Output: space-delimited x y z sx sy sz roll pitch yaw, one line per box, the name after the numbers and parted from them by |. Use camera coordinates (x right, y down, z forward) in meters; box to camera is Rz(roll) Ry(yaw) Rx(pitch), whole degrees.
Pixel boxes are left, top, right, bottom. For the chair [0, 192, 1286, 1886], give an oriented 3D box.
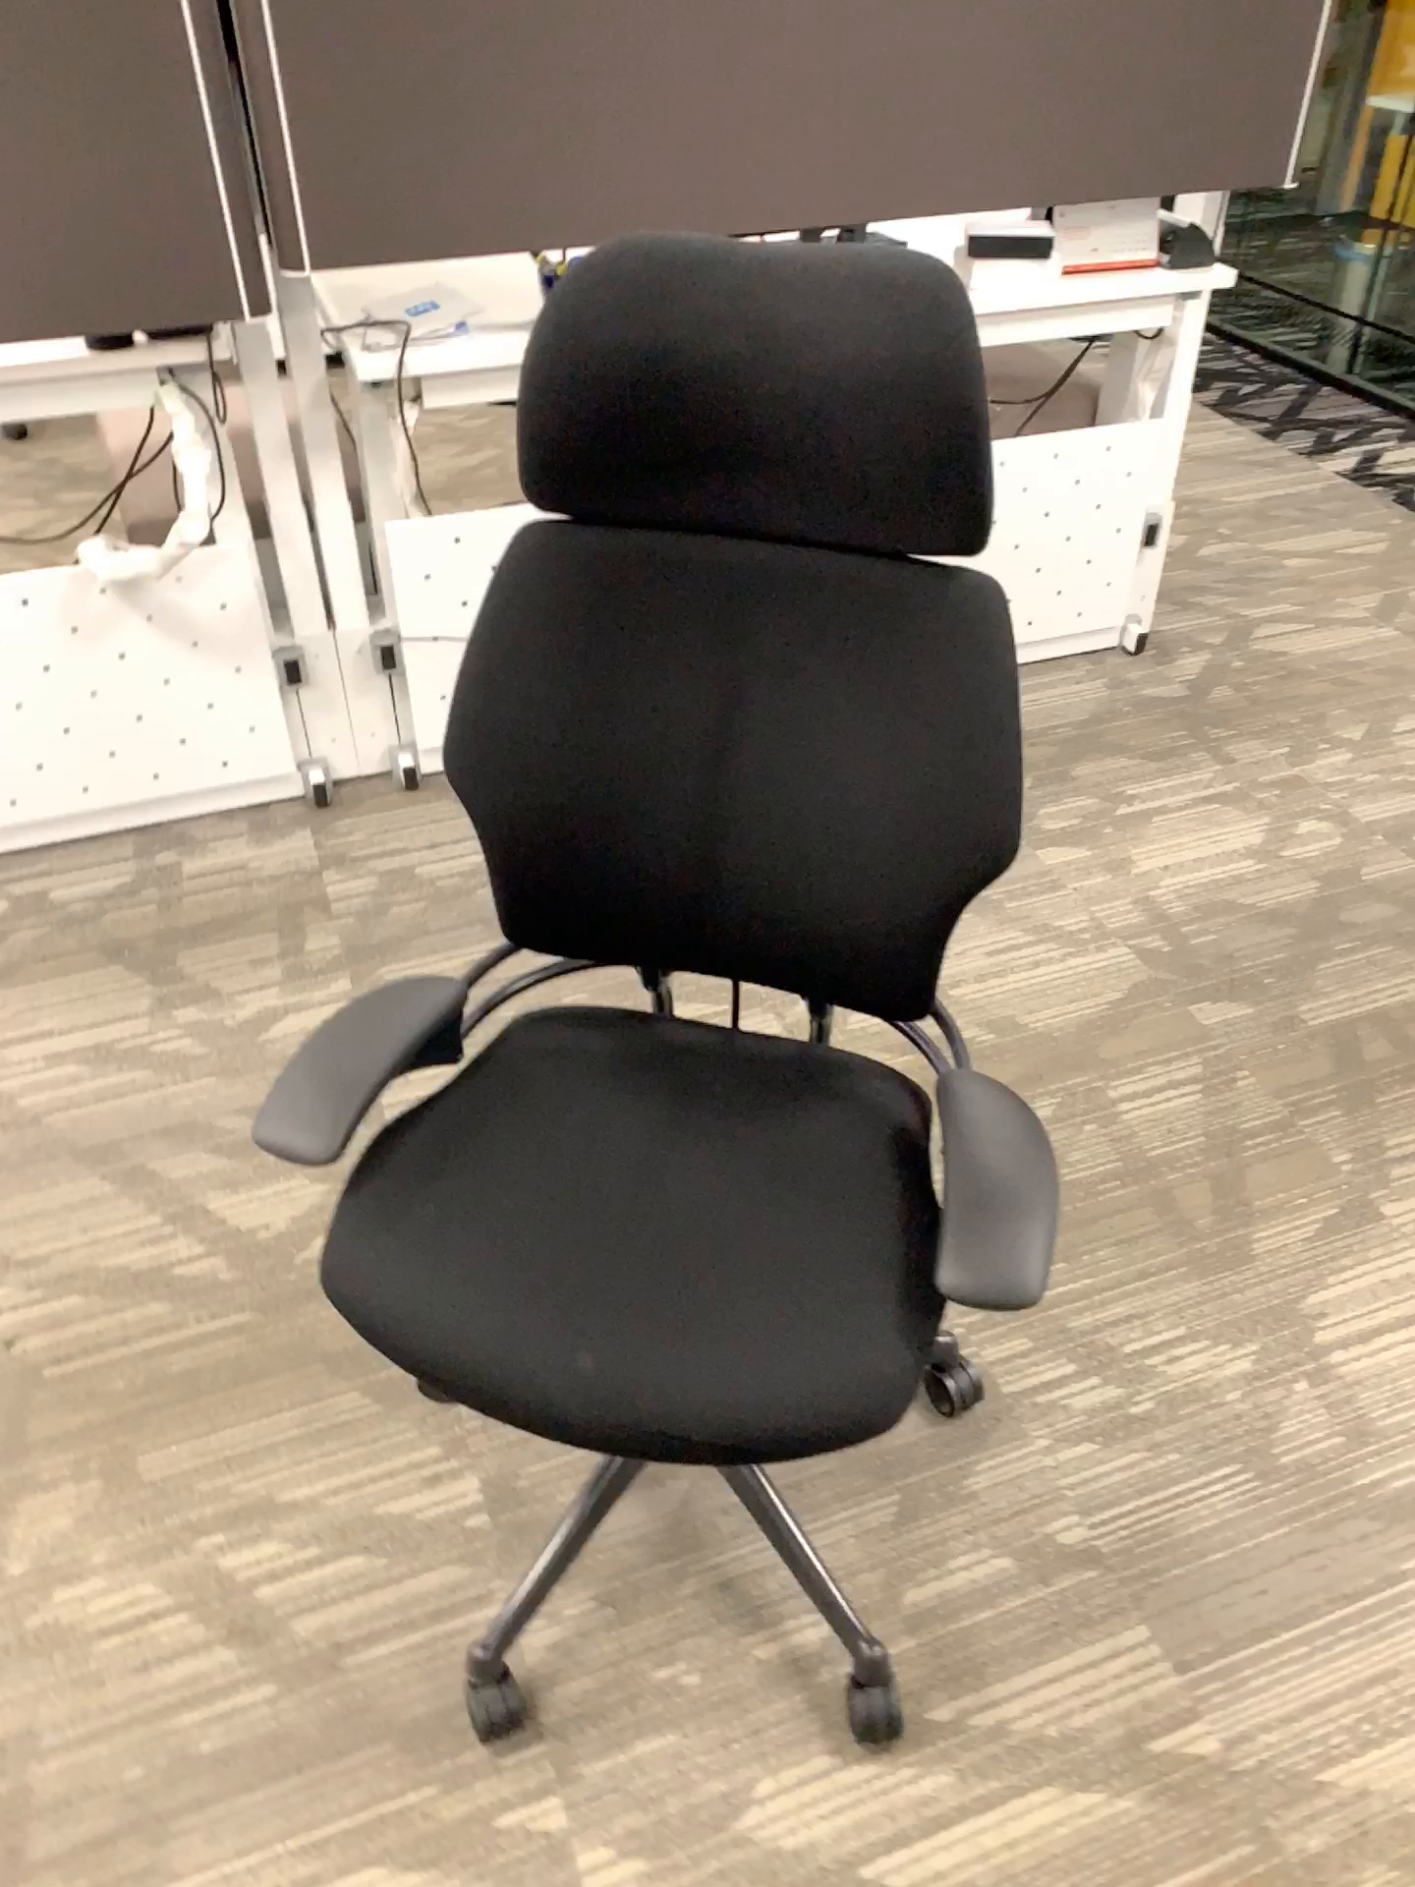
-0.018 0.060 1.209 0.690 1.091 0.776 9 38 13 | chair
